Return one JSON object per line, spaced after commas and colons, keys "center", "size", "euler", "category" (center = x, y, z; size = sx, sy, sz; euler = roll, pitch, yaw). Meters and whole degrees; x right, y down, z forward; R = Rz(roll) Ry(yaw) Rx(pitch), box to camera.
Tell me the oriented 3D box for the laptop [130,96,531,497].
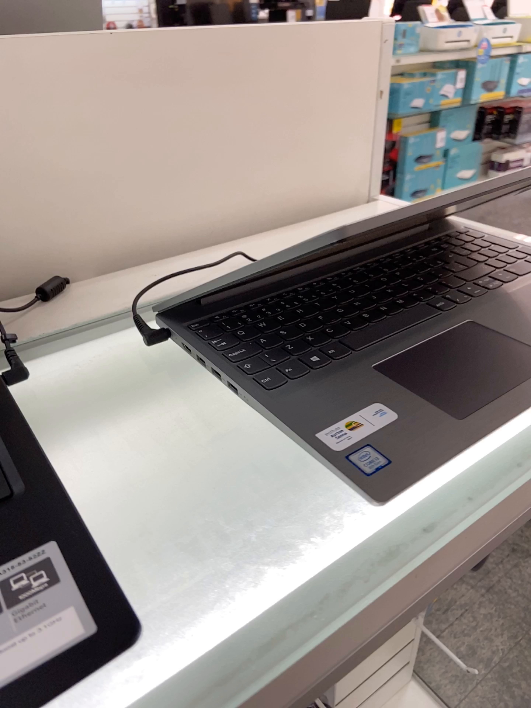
{"center": [0.125, -0.093, 0.401], "size": [0.355, 0.122, 0.239], "euler": [-22, 37, -29], "category": "laptop"}
